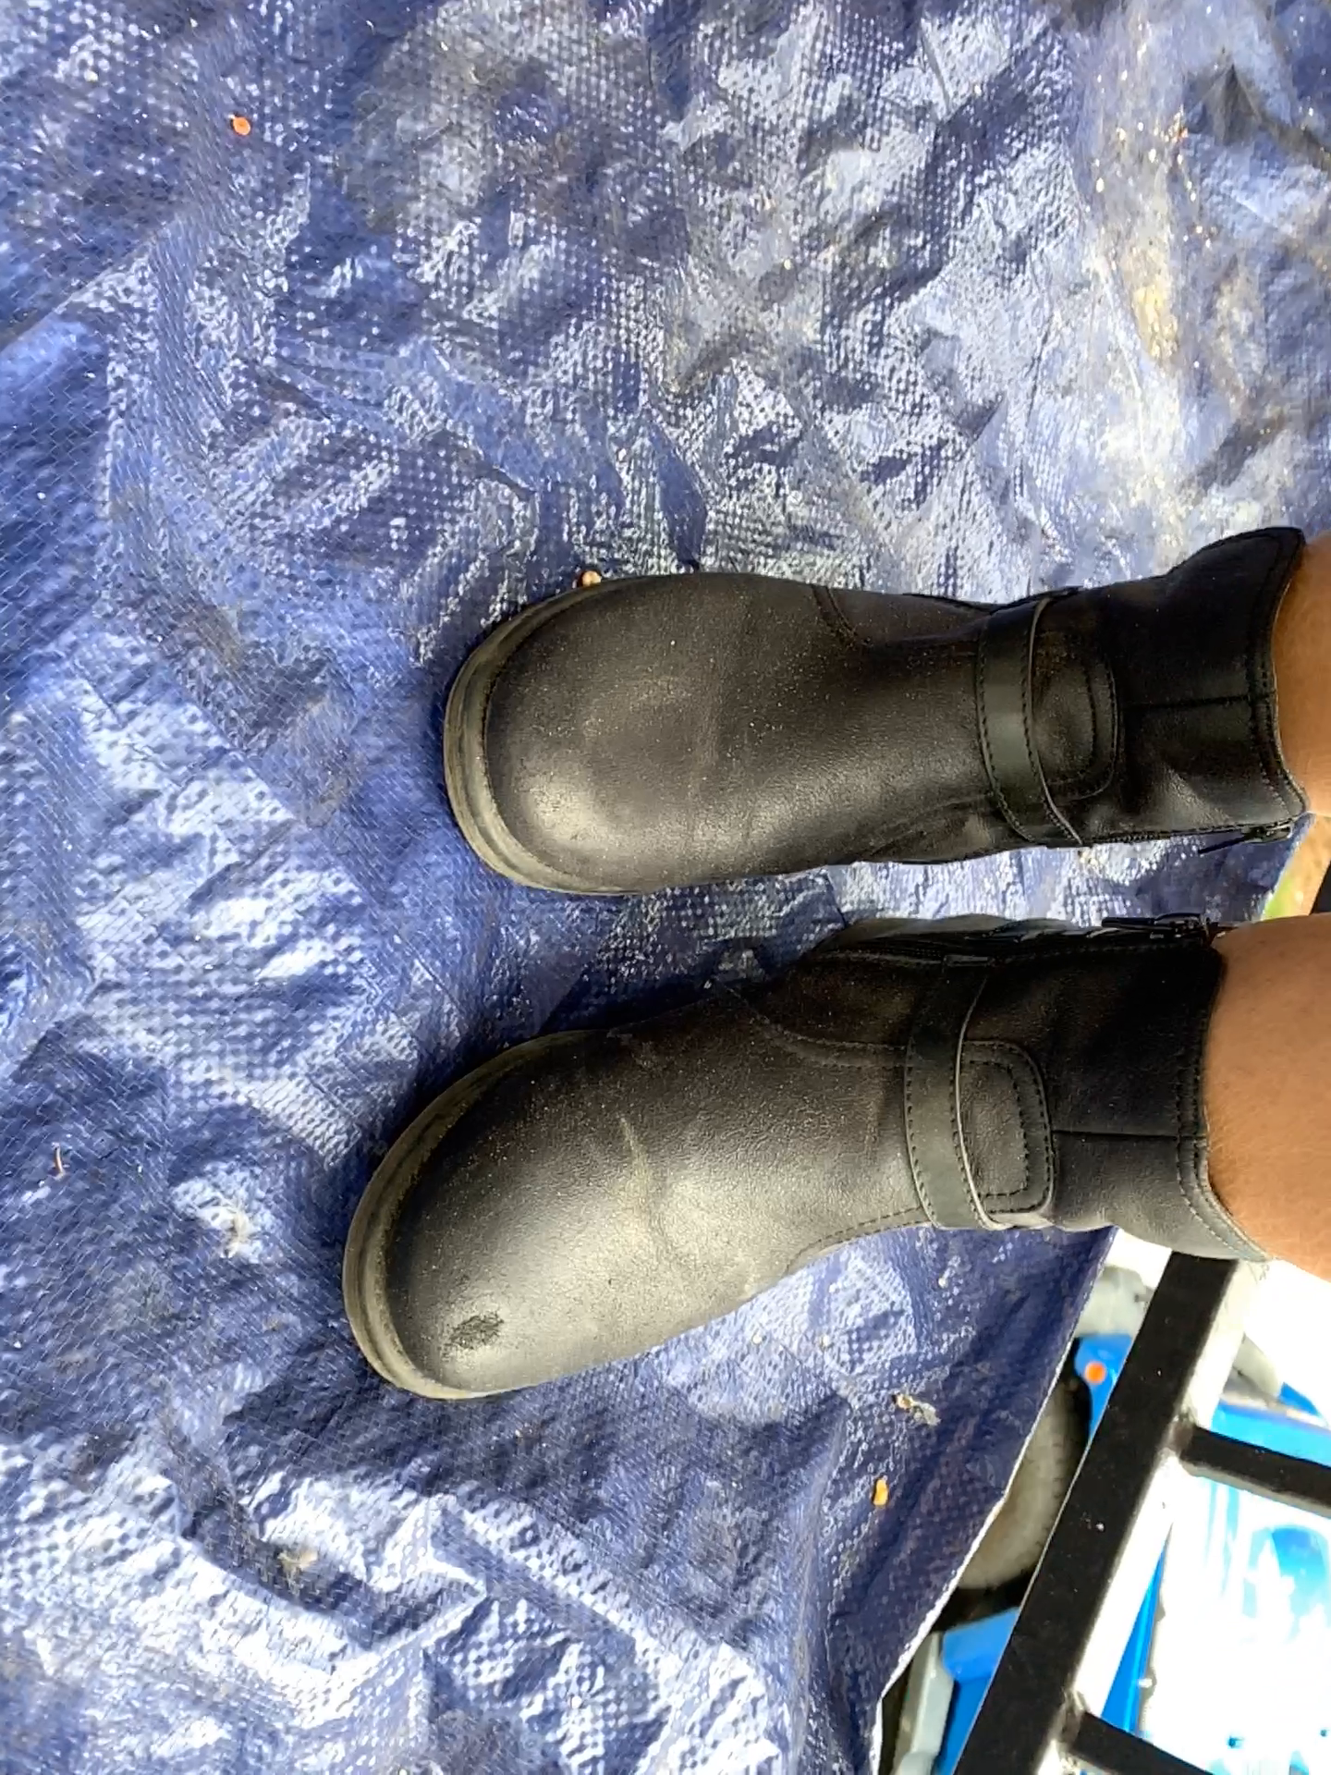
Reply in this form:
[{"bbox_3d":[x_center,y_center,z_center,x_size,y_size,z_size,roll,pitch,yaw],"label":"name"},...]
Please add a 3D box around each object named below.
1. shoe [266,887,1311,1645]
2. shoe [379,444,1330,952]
[{"bbox_3d":[0.054,0.065,0.367,0.282,0.109,0.110,-6,94,-41],"label":"shoe"},{"bbox_3d":[0.073,-0.042,0.413,0.282,0.129,0.100,-3,92,-41],"label":"shoe"}]
